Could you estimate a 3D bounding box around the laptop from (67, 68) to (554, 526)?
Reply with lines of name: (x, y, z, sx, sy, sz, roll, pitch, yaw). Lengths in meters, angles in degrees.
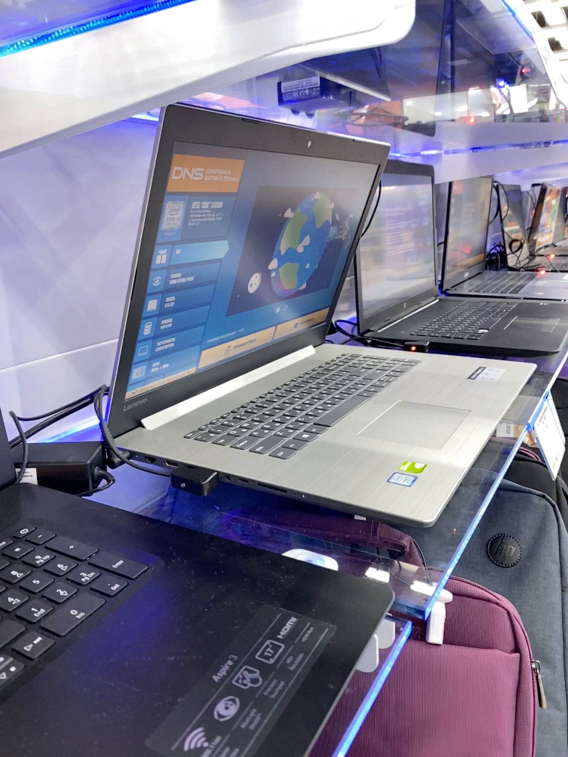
laptop: (0.071, -0.101, 0.567, 0.279, 0.256, 0.418, 8, 18, 30)
